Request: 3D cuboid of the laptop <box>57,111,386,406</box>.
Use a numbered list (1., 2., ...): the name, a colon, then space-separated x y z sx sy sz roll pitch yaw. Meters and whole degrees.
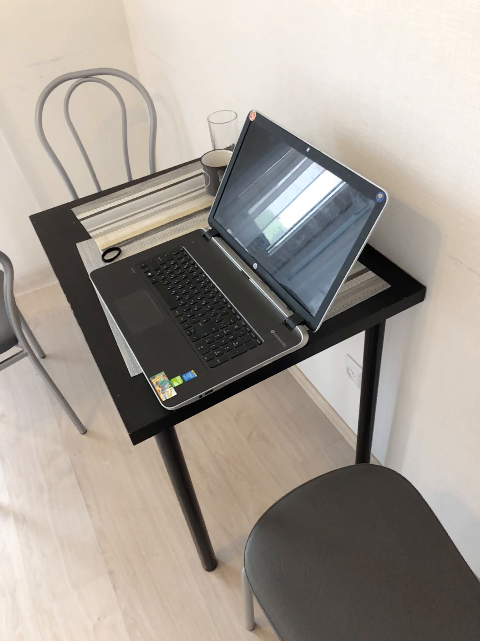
1. laptop: -0.046 -0.146 0.960 0.413 0.227 0.417 -24 46 -17
